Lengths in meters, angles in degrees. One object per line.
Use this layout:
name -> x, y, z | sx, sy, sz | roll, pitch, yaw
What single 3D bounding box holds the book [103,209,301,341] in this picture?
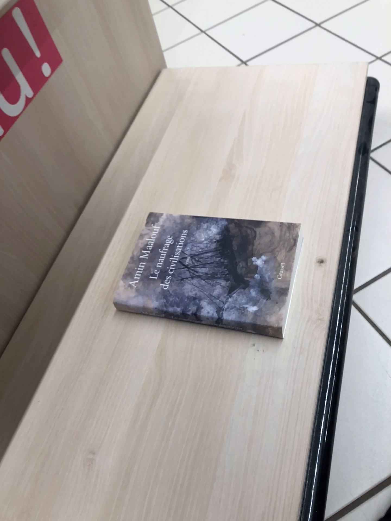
book -> 0.012, 0.009, 0.531 | 0.211, 0.026, 0.148 | 7, 57, 18
